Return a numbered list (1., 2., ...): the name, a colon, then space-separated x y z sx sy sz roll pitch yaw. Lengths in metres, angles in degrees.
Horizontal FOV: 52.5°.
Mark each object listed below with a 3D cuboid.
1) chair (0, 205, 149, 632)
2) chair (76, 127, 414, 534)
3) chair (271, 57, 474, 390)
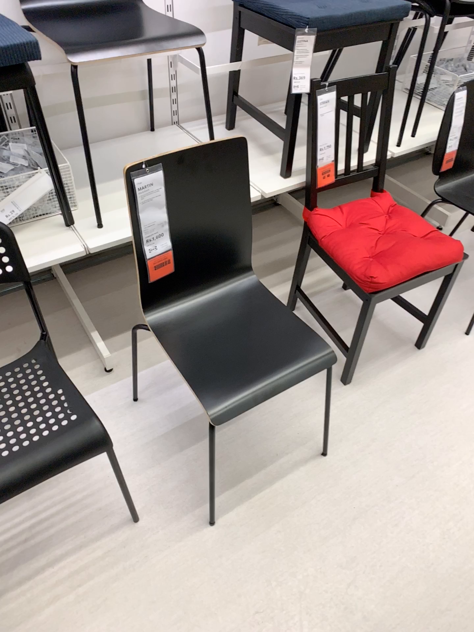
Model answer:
1. chair: -0.571 0.243 1.133 0.471 0.727 0.531 -23 50 -25
2. chair: -0.026 0.046 1.319 0.481 0.827 0.592 -23 50 -24
3. chair: 0.470 -0.279 1.565 0.450 0.857 0.481 -22 50 -24
